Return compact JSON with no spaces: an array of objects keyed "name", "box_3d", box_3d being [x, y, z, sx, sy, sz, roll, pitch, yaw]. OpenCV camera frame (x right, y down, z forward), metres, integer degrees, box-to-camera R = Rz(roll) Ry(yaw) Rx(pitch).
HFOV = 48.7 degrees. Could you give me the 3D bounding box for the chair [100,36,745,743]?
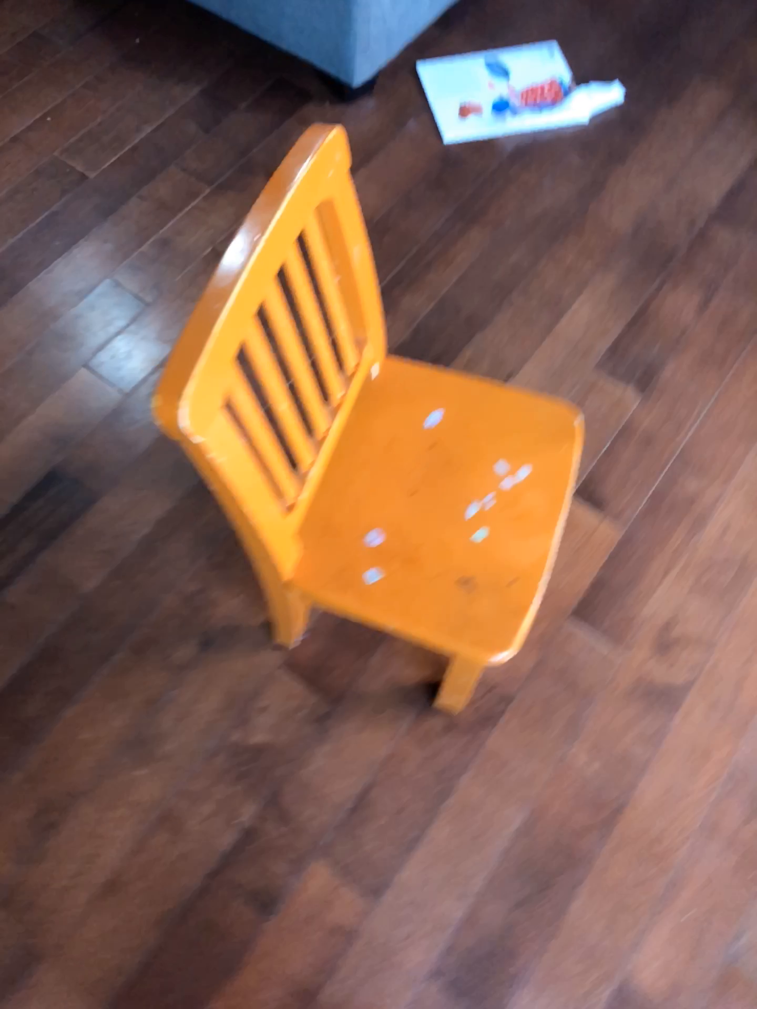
[{"name":"chair","box_3d":[0.042,-0.049,0.841,0.350,0.569,0.360,20,65,8]}]
